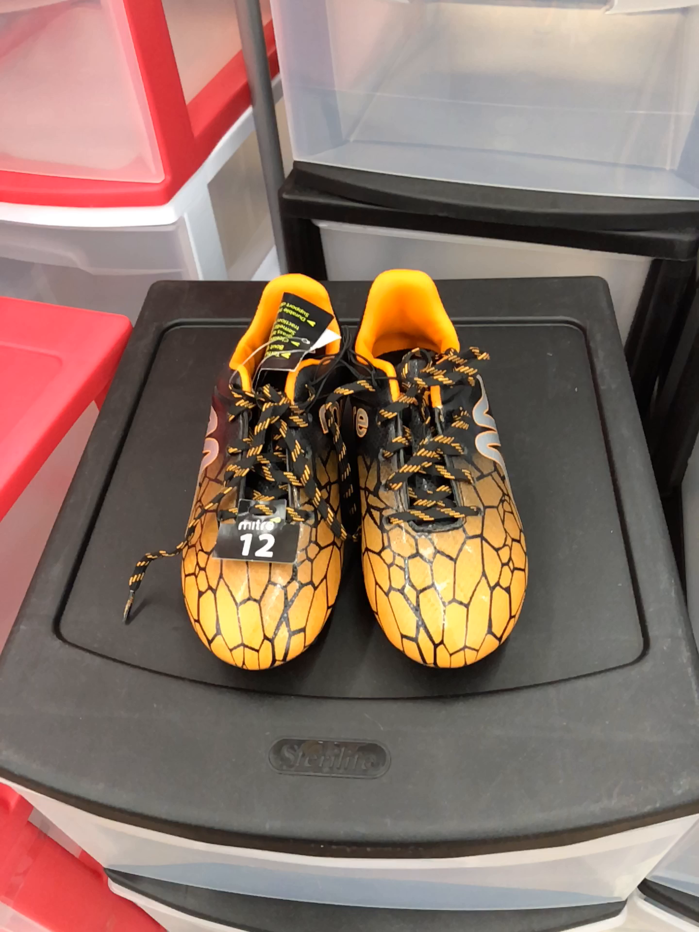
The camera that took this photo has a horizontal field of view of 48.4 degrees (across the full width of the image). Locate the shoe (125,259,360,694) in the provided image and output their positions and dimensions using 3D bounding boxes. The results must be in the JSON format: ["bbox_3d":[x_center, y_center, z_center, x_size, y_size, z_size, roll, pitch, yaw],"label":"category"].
[{"bbox_3d":[-0.038,-0.004,0.372,0.080,0.080,0.201,-3,49,3],"label":"shoe"}]

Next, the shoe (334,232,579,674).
[{"bbox_3d":[0.037,-0.017,0.354,0.080,0.070,0.201,-4,49,2],"label":"shoe"}]
